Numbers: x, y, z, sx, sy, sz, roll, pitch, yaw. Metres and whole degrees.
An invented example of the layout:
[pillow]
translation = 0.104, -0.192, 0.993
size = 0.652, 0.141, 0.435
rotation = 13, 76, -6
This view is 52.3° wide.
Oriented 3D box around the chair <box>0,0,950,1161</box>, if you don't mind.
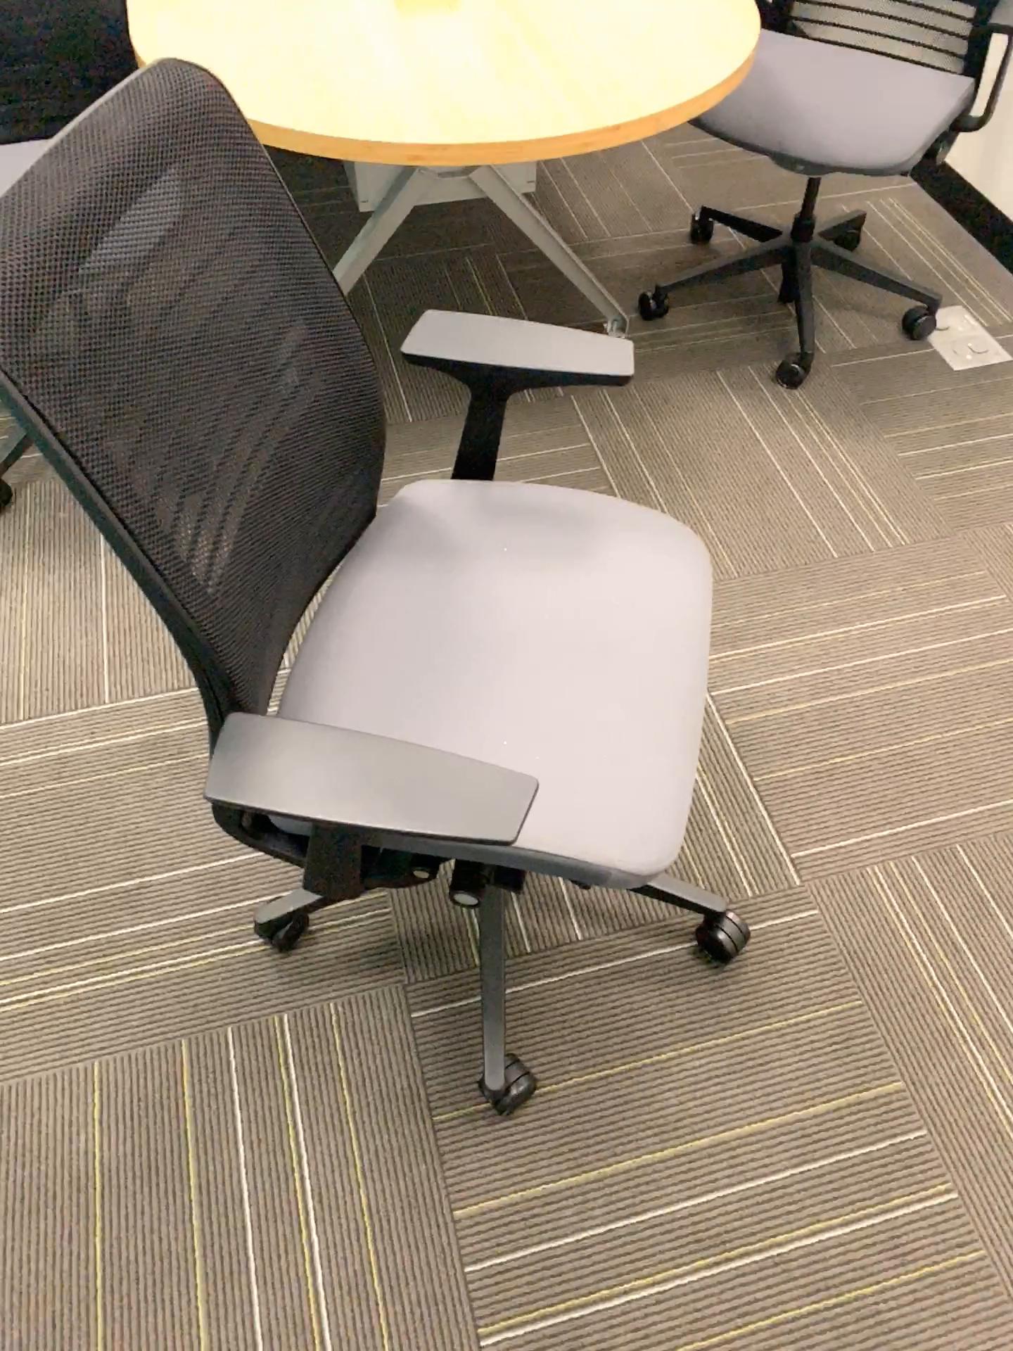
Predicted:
[chair]
translation = -0.054, -0.029, 1.116
size = 0.691, 0.995, 0.653
rotation = 11, 53, 8
